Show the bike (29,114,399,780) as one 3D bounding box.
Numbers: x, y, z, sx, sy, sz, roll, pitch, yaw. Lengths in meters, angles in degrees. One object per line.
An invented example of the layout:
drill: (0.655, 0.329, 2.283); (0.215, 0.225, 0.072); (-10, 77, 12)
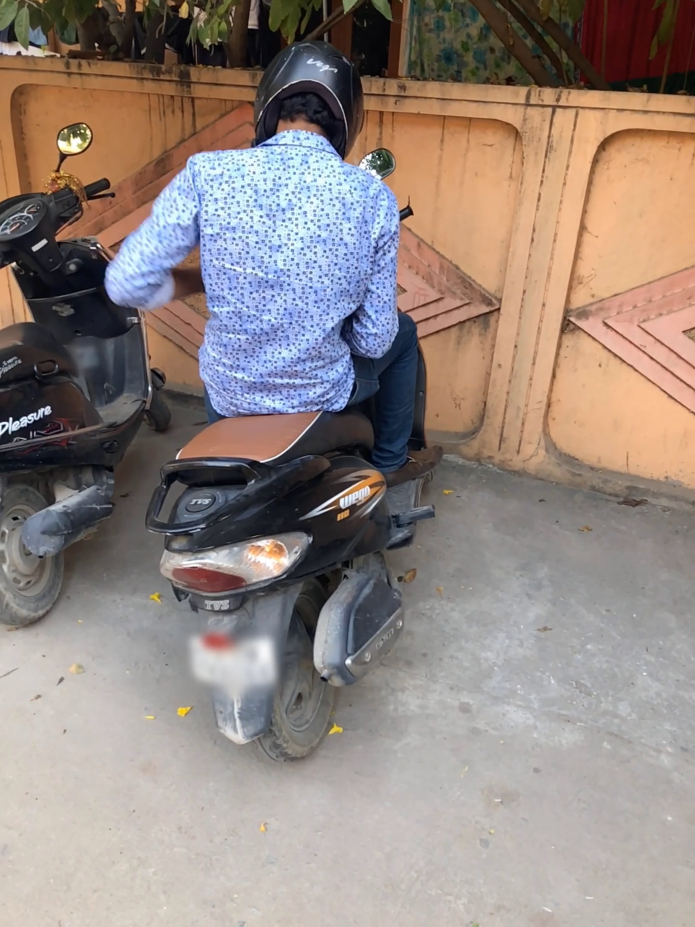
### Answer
bike: (-0.227, -0.198, 2.041); (0.628, 1.038, 1.327); (5, 32, 3)
